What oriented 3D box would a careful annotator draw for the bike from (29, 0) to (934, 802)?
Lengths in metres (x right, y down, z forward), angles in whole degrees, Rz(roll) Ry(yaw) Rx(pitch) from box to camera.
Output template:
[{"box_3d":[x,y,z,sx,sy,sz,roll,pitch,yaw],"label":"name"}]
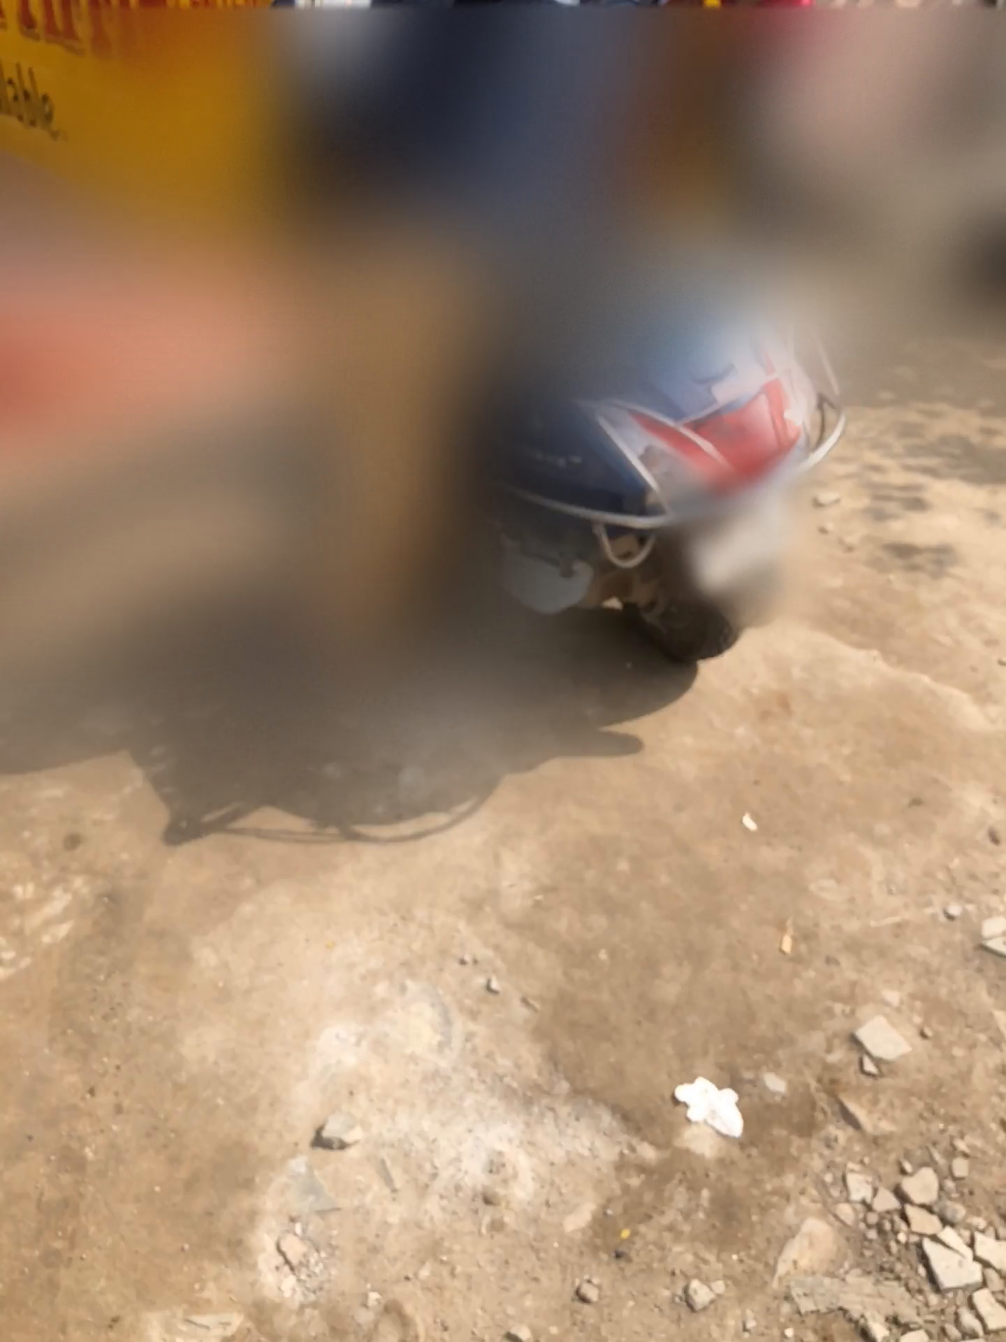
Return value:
[{"box_3d":[-0.199,-0.738,2.242,0.627,1.187,1.635,-24,43,-32],"label":"bike"}]
